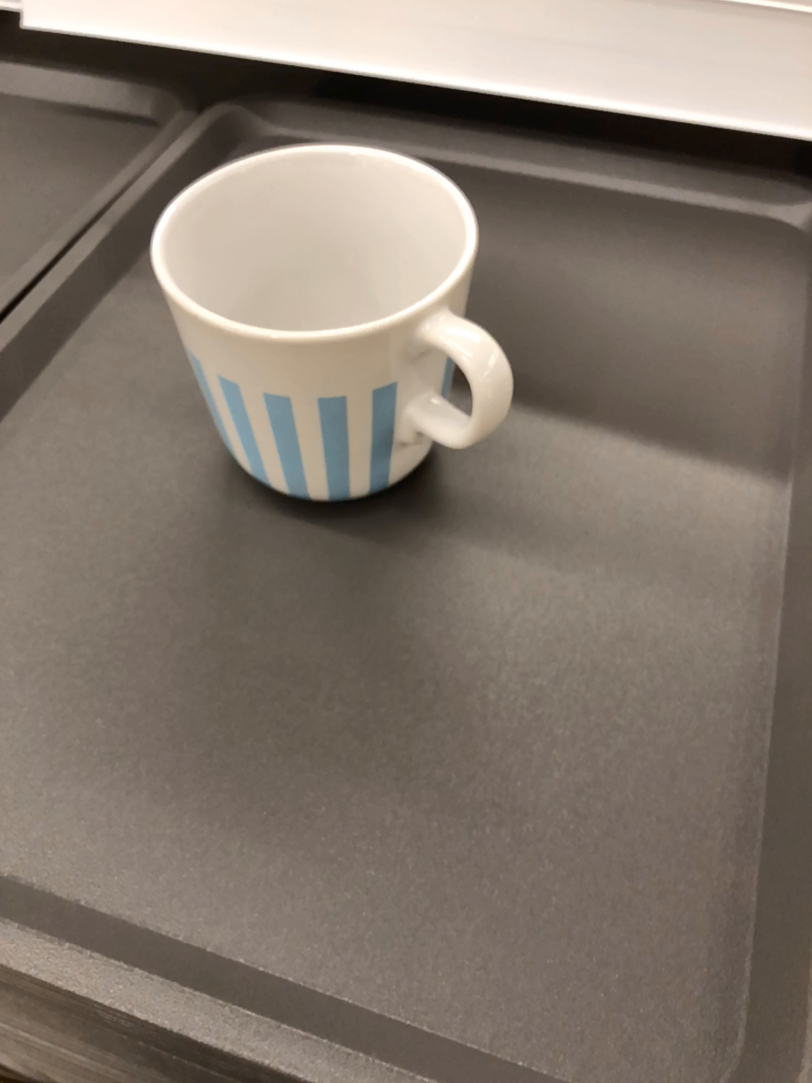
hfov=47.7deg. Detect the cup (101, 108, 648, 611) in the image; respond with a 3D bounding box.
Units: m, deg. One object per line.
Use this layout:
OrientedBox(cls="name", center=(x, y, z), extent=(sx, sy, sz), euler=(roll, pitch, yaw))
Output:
OrientedBox(cls="cup", center=(-0.009, -0.057, 0.266), extent=(0.110, 0.070, 0.090), euler=(33, 57, 23))
